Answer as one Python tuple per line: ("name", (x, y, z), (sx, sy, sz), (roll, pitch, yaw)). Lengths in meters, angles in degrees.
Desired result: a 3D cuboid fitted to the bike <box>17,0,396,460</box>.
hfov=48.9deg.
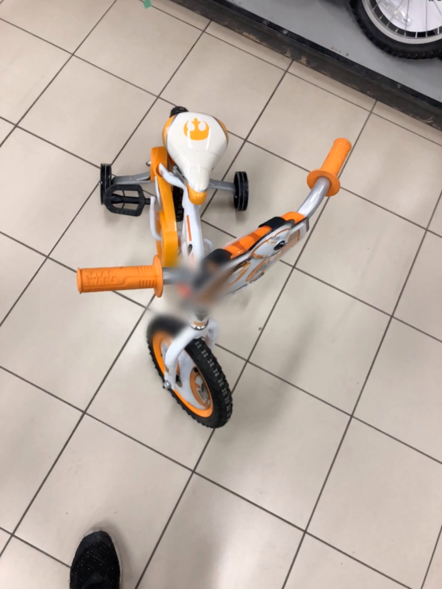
("bike", (-0.082, -0.159, 1.016), (0.435, 0.716, 0.815), (-8, 74, -8))
